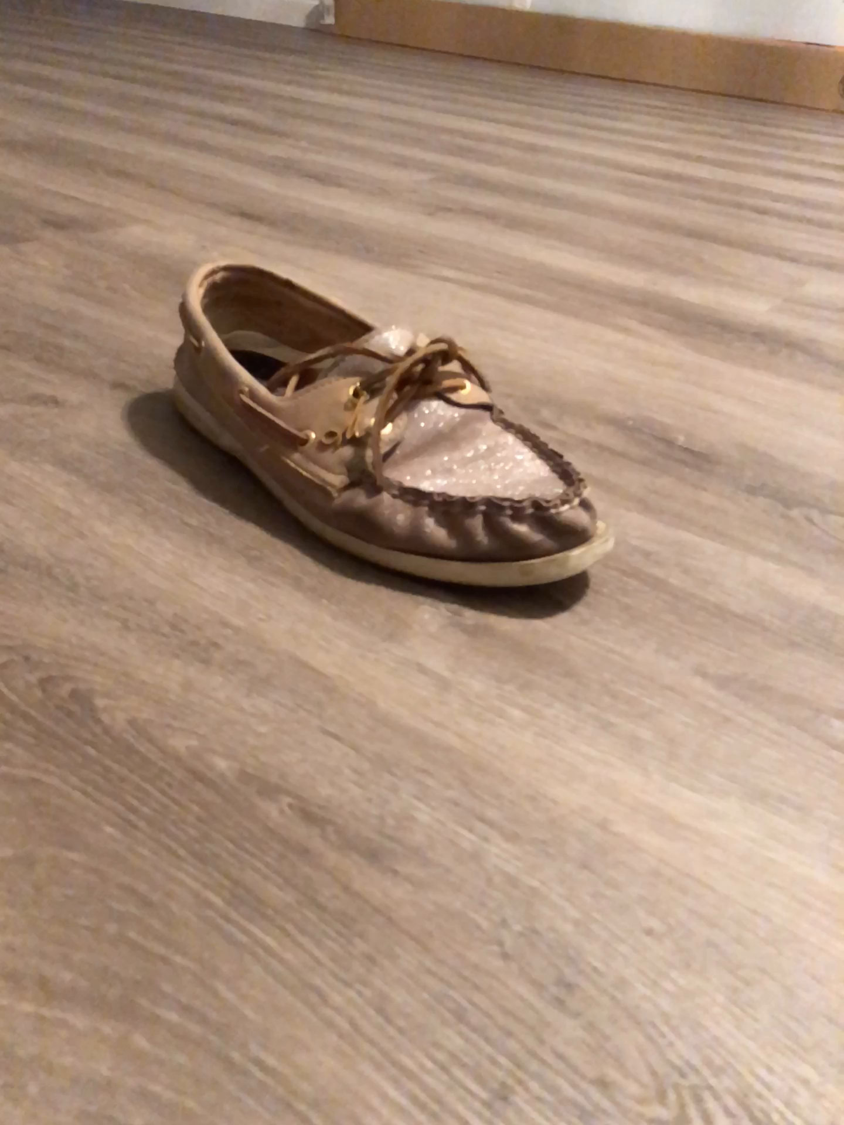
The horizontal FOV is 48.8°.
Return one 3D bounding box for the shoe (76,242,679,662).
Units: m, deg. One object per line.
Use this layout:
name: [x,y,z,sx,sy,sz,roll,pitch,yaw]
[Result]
shoe: [-0.034,-0.066,0.391,0.100,0.070,0.251,-23,42,-40]
